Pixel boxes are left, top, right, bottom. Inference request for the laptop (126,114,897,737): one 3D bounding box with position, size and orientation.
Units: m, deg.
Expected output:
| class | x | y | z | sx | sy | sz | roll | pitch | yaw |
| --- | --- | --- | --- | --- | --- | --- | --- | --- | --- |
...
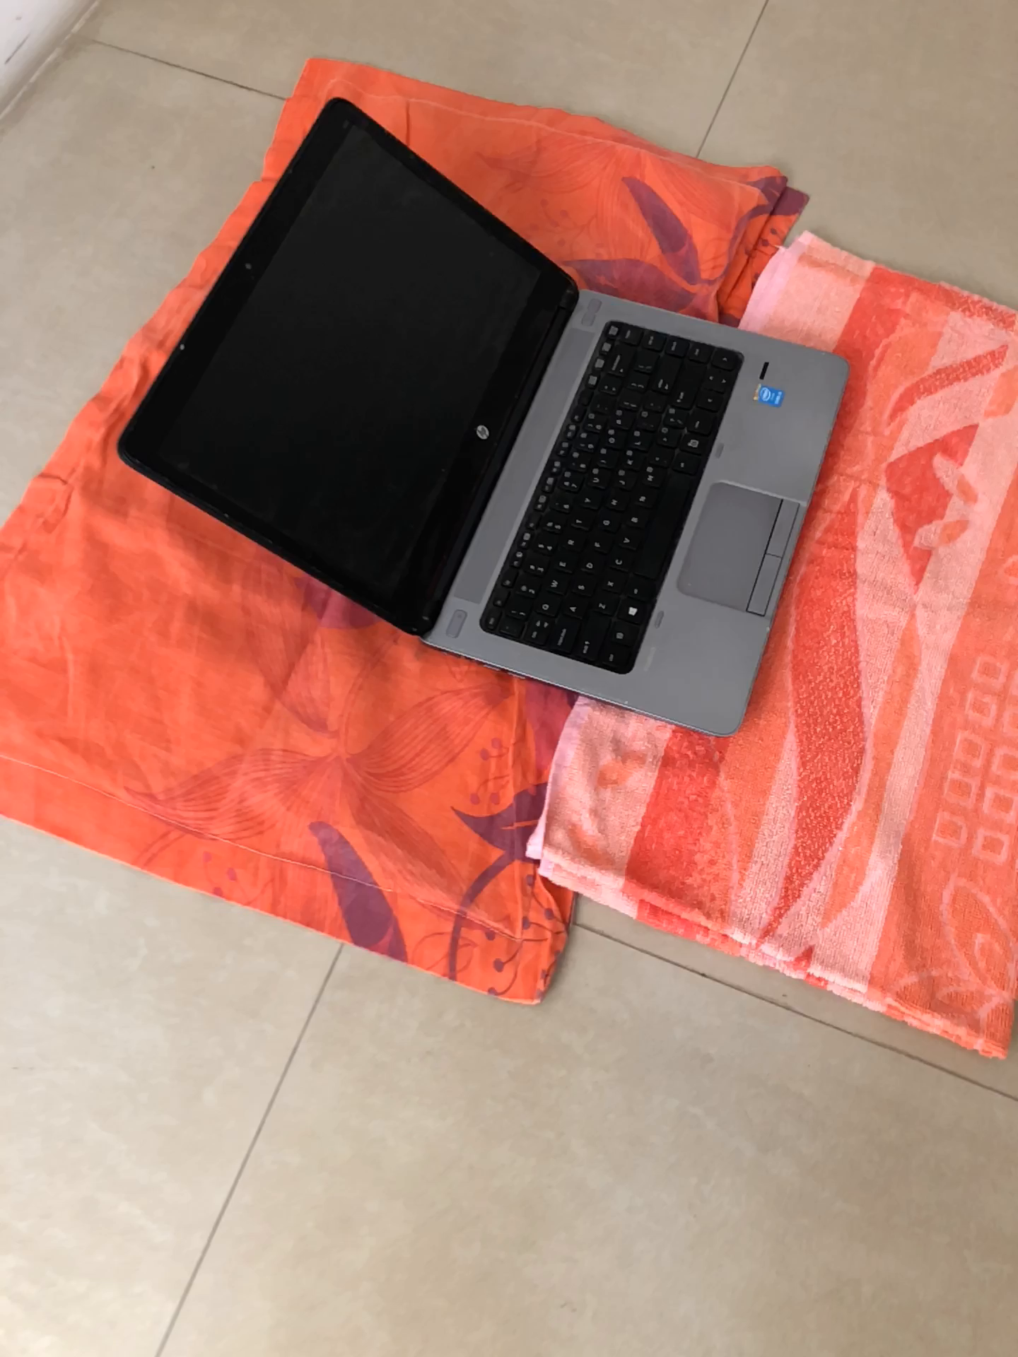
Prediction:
| class | x | y | z | sx | sy | sz | roll | pitch | yaw |
| --- | --- | --- | --- | --- | --- | --- | --- | --- | --- |
| laptop | 0.012 | -0.188 | 0.776 | 0.410 | 0.111 | 0.329 | 19 | 67 | 9 |
